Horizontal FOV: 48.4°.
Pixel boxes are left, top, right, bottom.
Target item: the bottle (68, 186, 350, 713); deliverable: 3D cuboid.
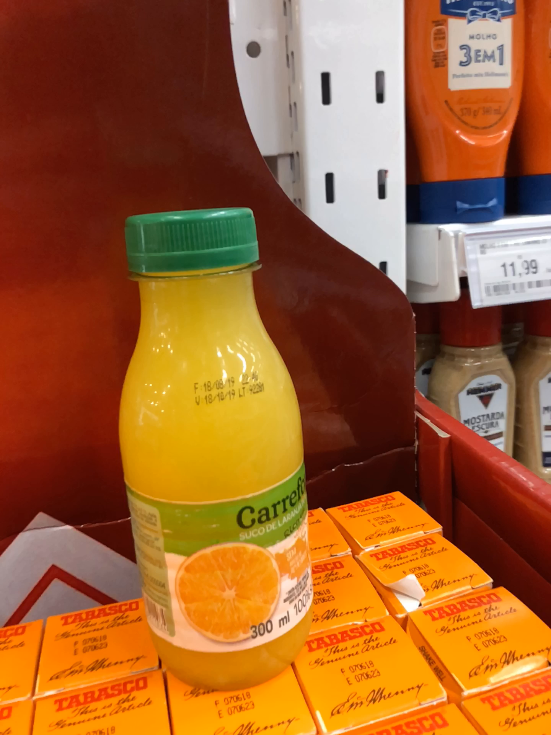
[{"bbox_3d":[-0.016,0.021,0.202,0.050,0.149,0.060,7,18,36],"label":"bottle"}]
